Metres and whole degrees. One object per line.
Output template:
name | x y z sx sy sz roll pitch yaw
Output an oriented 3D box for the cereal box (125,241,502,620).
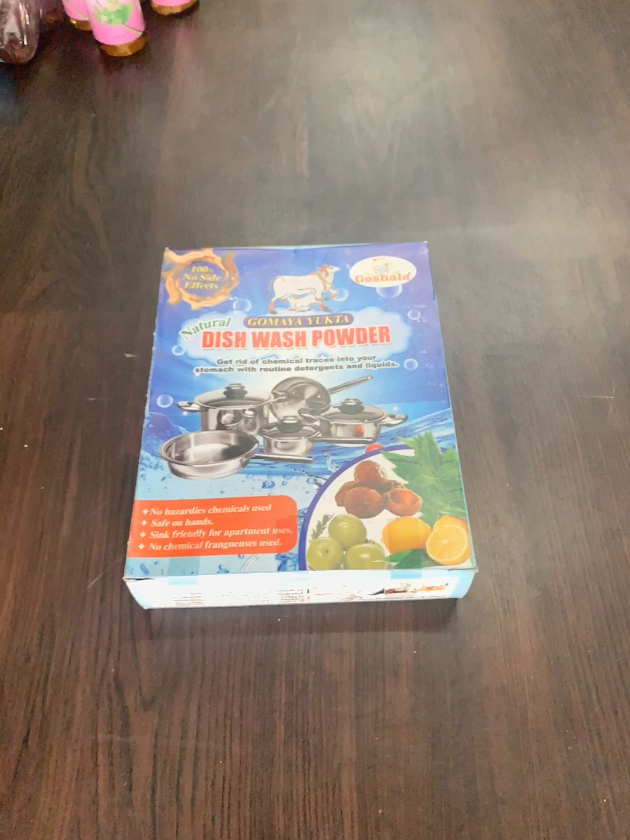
cereal box | -0.002 0.000 0.313 0.140 0.060 0.170 -2 58 1
